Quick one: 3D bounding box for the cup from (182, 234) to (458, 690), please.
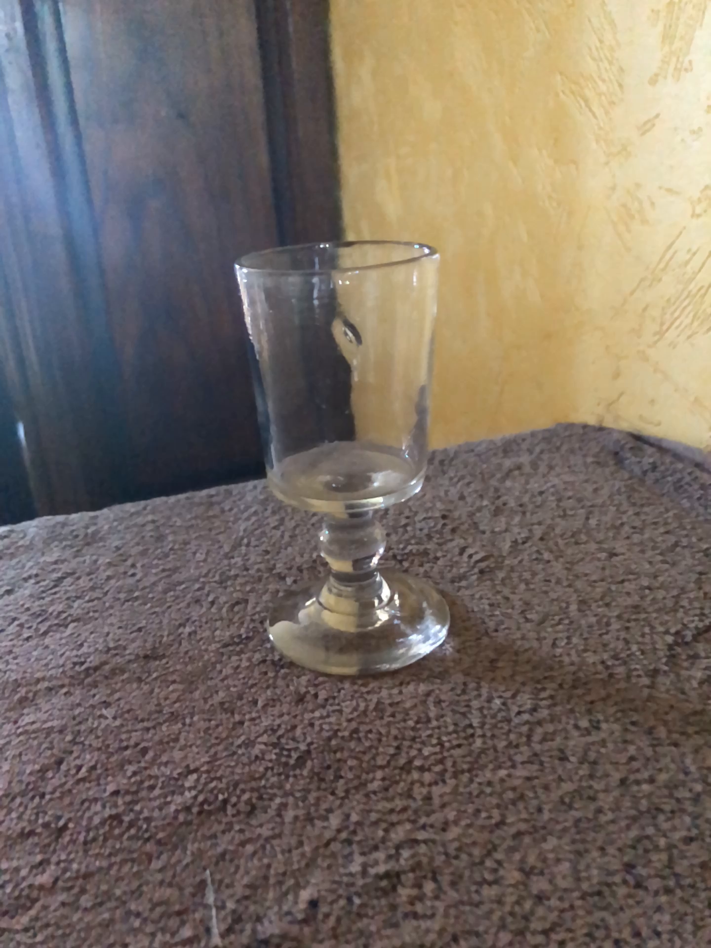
[{"bbox_3d":[-0.007,-0.006,0.225,0.060,0.109,0.060,-3,22,1],"label":"cup"}]
